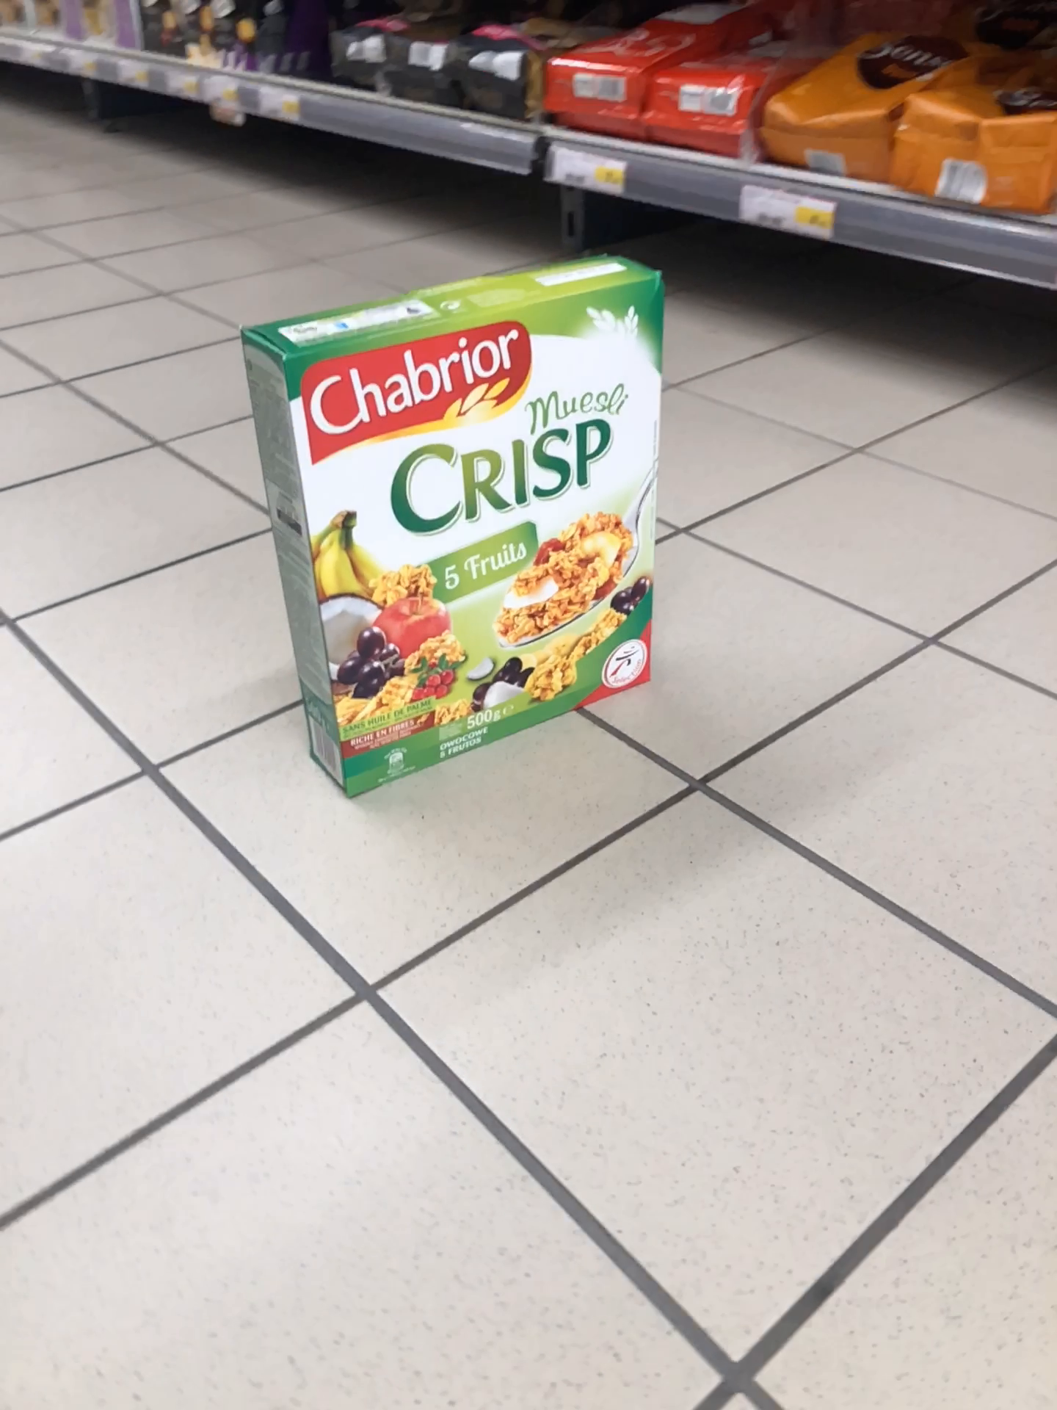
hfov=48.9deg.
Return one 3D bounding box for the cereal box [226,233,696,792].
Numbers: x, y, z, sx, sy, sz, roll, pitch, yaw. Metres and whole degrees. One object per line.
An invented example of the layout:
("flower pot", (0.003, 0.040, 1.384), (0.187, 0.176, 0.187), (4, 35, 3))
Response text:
("cereal box", (-0.022, -0.094, 0.565), (0.201, 0.219, 0.060), (-21, 39, -26))
